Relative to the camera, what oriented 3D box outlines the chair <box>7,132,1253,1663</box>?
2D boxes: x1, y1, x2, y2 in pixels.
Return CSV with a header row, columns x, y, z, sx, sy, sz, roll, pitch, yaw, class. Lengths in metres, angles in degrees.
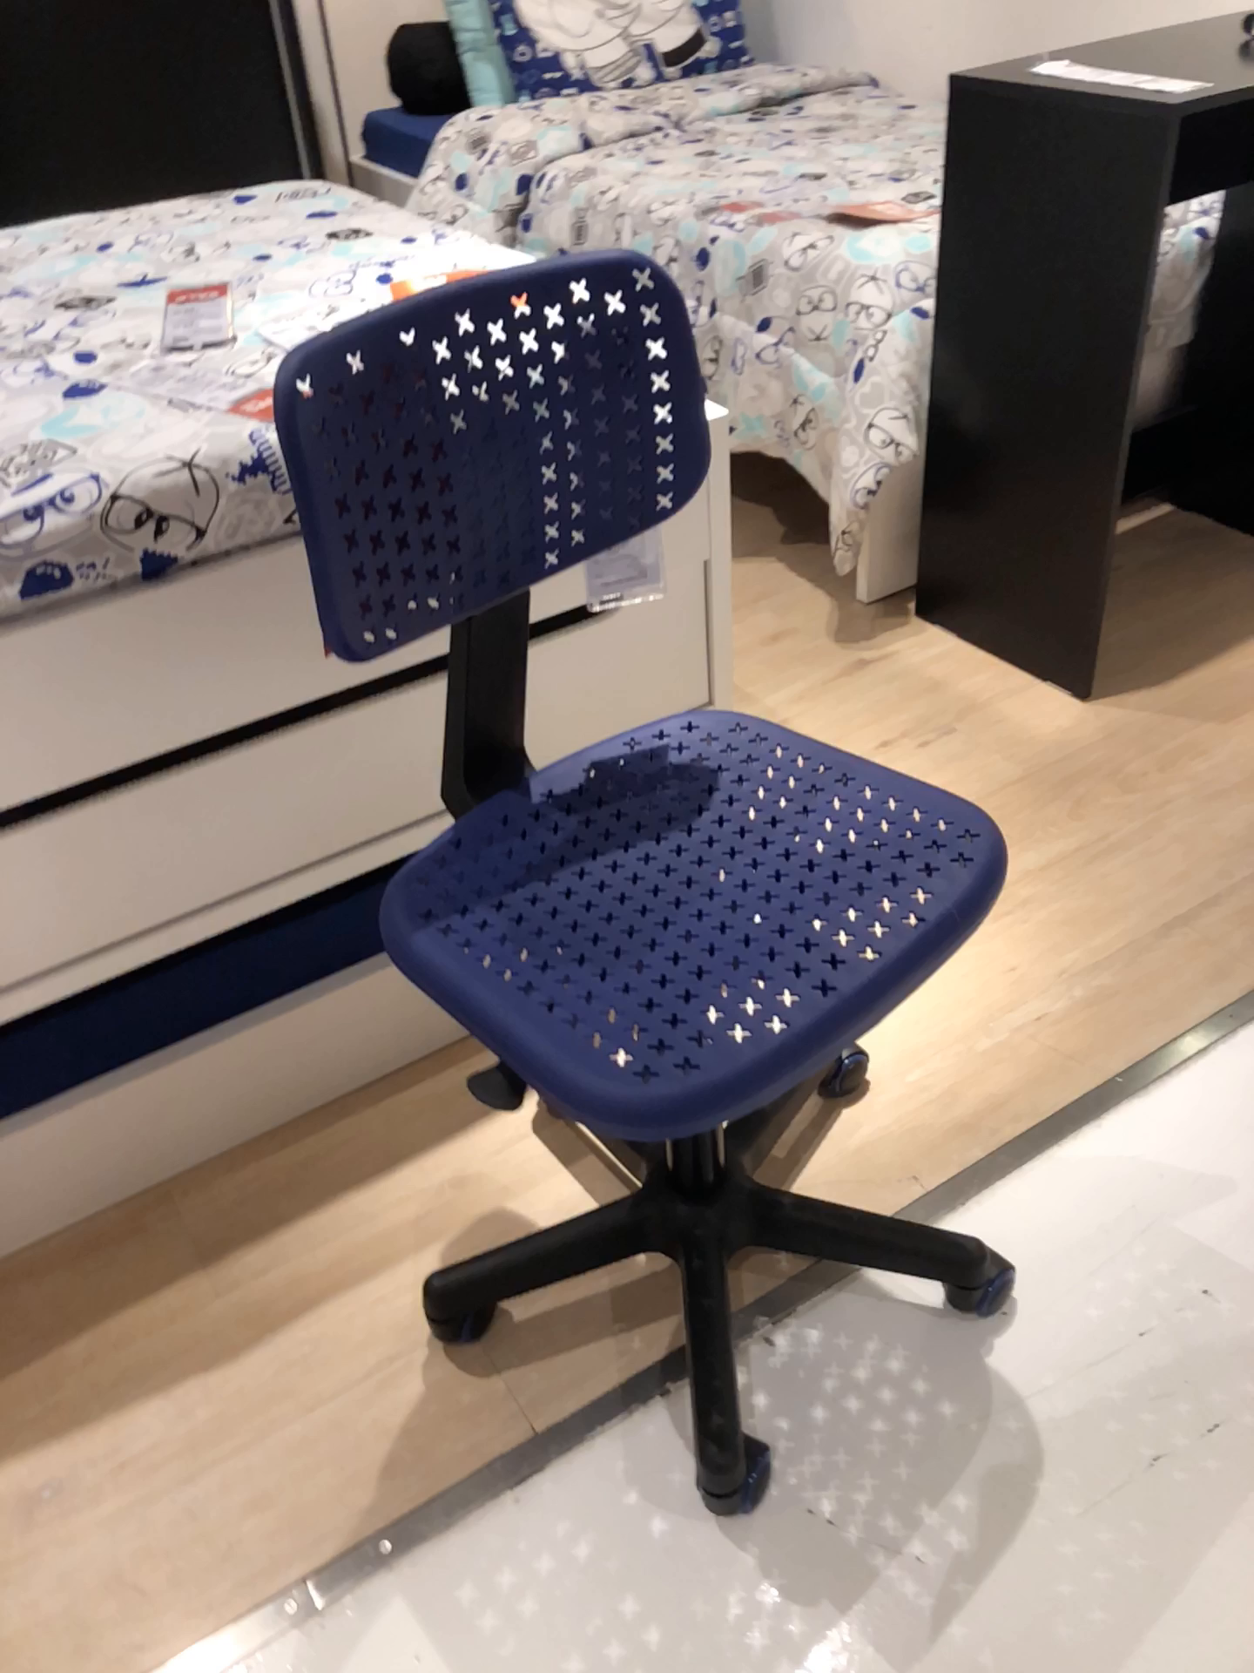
x,y,z,sx,sy,sz,roll,pitch,yaw,class
0.038,0.015,1.005,0.551,0.814,0.523,-27,42,-26,chair
